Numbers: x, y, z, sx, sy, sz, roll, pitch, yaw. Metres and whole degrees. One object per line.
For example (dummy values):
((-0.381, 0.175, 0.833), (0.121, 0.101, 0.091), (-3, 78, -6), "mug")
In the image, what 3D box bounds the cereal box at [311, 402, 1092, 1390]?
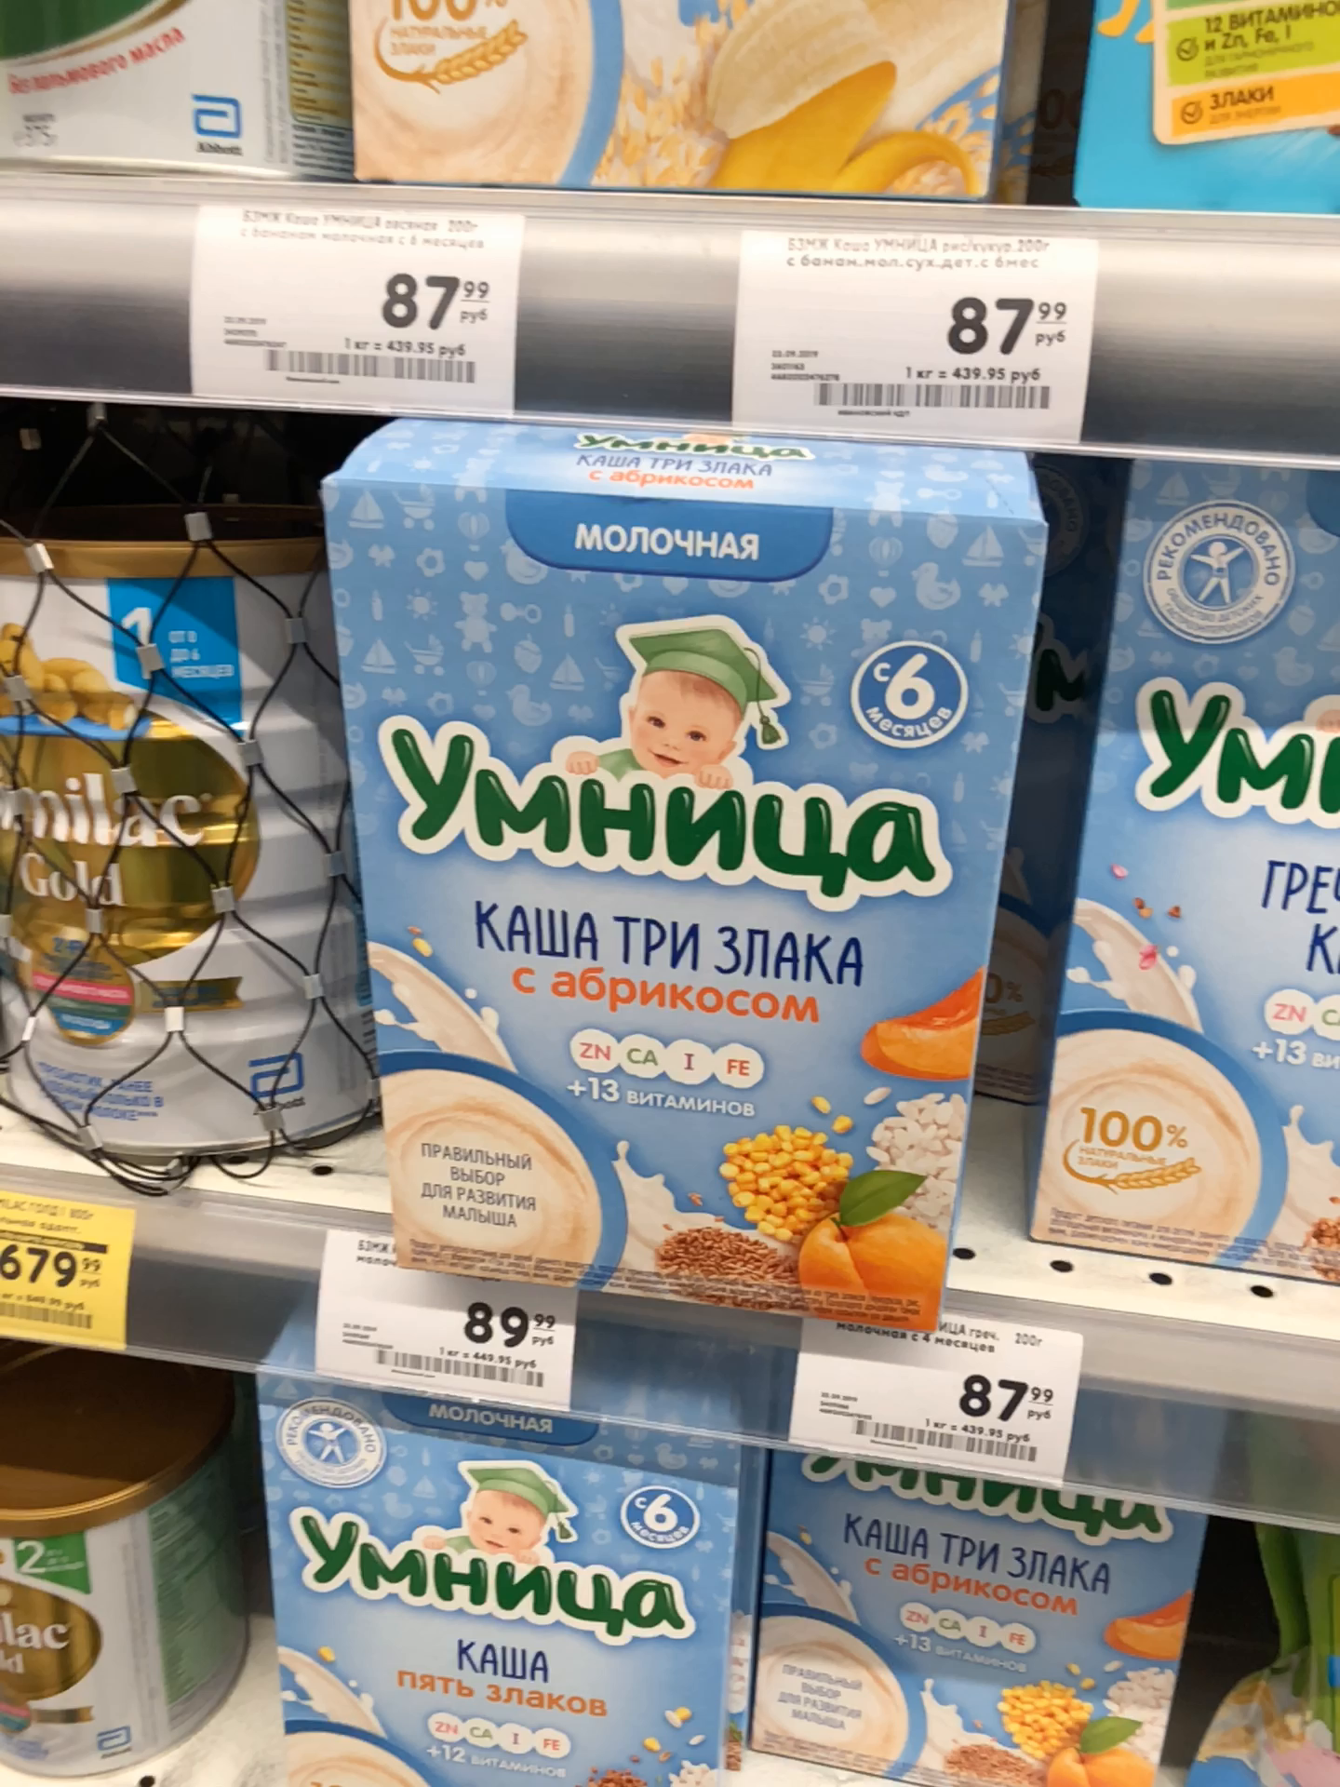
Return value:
((0.006, 0.006, 0.339), (0.140, 0.209, 0.060), (6, 29, 8), "cereal box")
